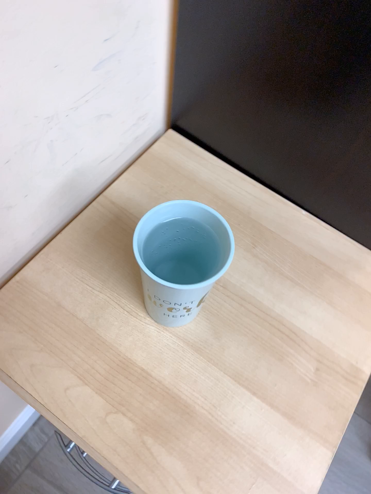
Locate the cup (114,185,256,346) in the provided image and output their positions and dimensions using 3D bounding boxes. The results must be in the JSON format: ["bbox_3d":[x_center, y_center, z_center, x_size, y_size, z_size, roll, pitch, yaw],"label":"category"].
[{"bbox_3d":[-0.008,0.028,0.407,0.100,0.155,0.090,-18,66,-14],"label":"cup"}]
